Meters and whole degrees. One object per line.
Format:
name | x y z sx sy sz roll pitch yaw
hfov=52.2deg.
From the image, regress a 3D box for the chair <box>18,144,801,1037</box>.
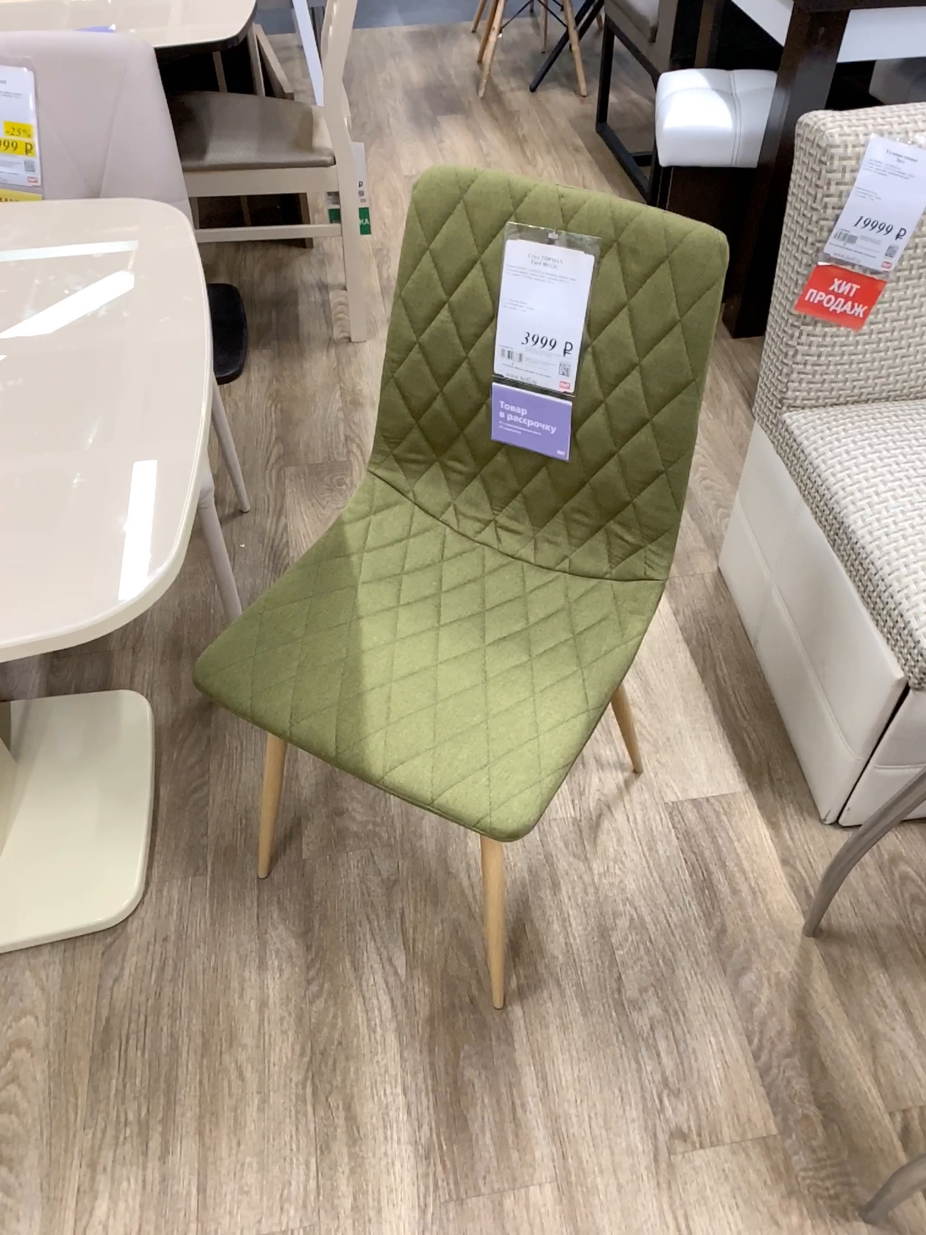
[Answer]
chair | -0.011 -0.006 1.177 0.500 0.836 0.562 22 51 20
